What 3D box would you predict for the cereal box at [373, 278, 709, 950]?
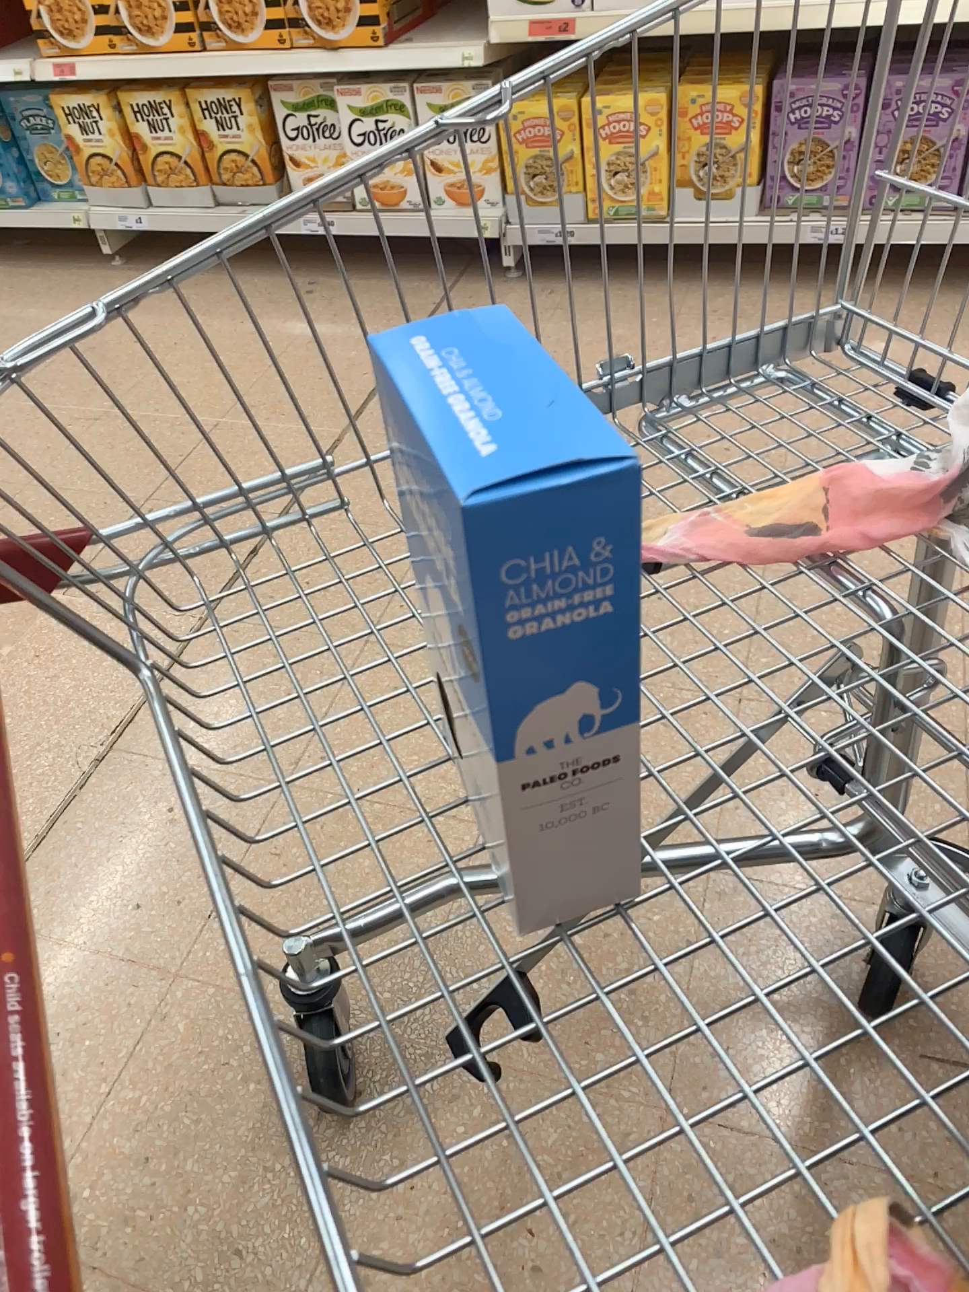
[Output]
[{"bbox_3d":[0.019,-0.008,0.380,0.060,0.208,0.141,-16,43,-10],"label":"cereal box"}]
